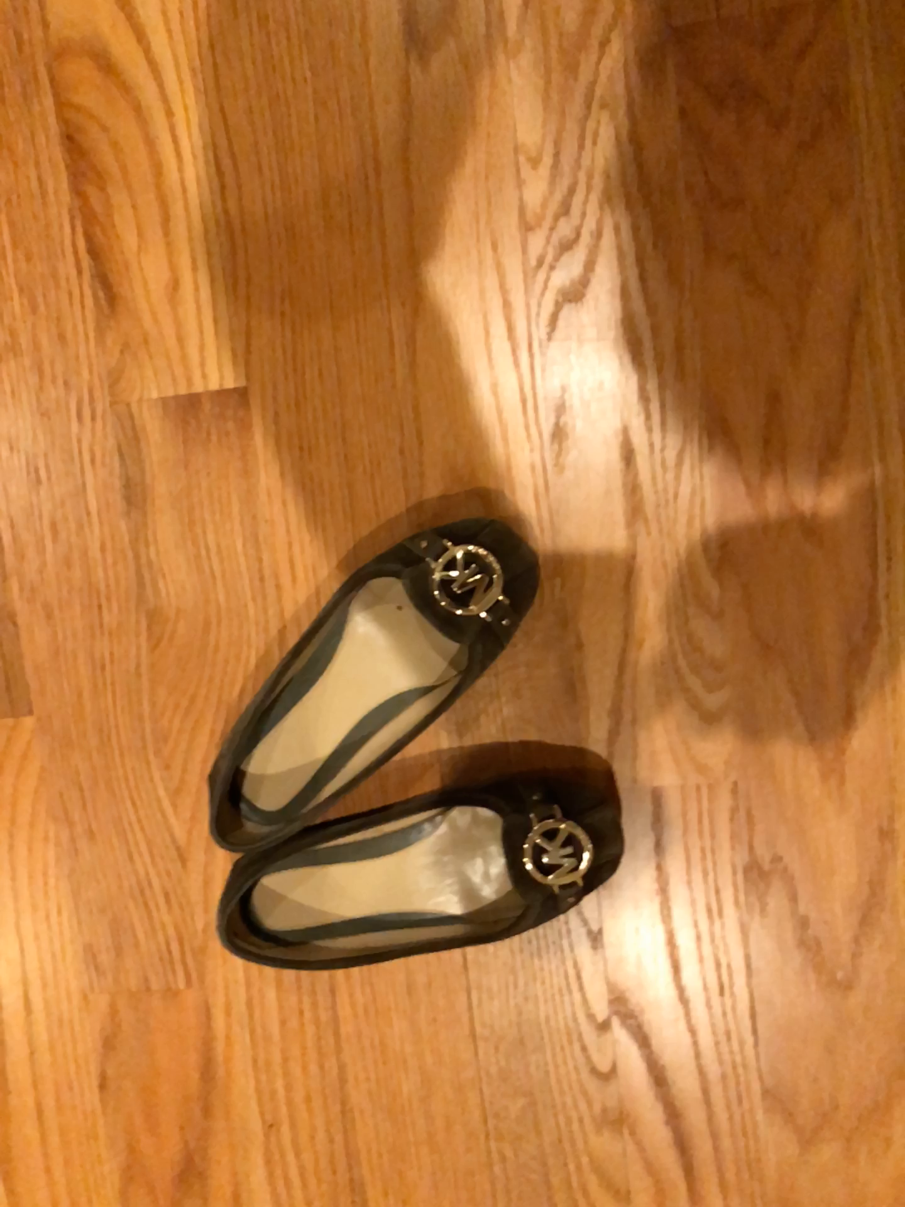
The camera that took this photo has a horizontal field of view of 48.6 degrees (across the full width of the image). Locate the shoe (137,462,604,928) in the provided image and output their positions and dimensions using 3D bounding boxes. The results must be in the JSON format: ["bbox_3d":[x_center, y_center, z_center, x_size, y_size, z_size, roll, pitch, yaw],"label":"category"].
[{"bbox_3d":[-0.040,0.045,0.527,0.091,0.079,0.242,45,102,0],"label":"shoe"}]

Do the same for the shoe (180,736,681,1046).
[{"bbox_3d":[-0.010,0.154,0.542,0.240,0.079,0.091,-15,96,10],"label":"shoe"}]
